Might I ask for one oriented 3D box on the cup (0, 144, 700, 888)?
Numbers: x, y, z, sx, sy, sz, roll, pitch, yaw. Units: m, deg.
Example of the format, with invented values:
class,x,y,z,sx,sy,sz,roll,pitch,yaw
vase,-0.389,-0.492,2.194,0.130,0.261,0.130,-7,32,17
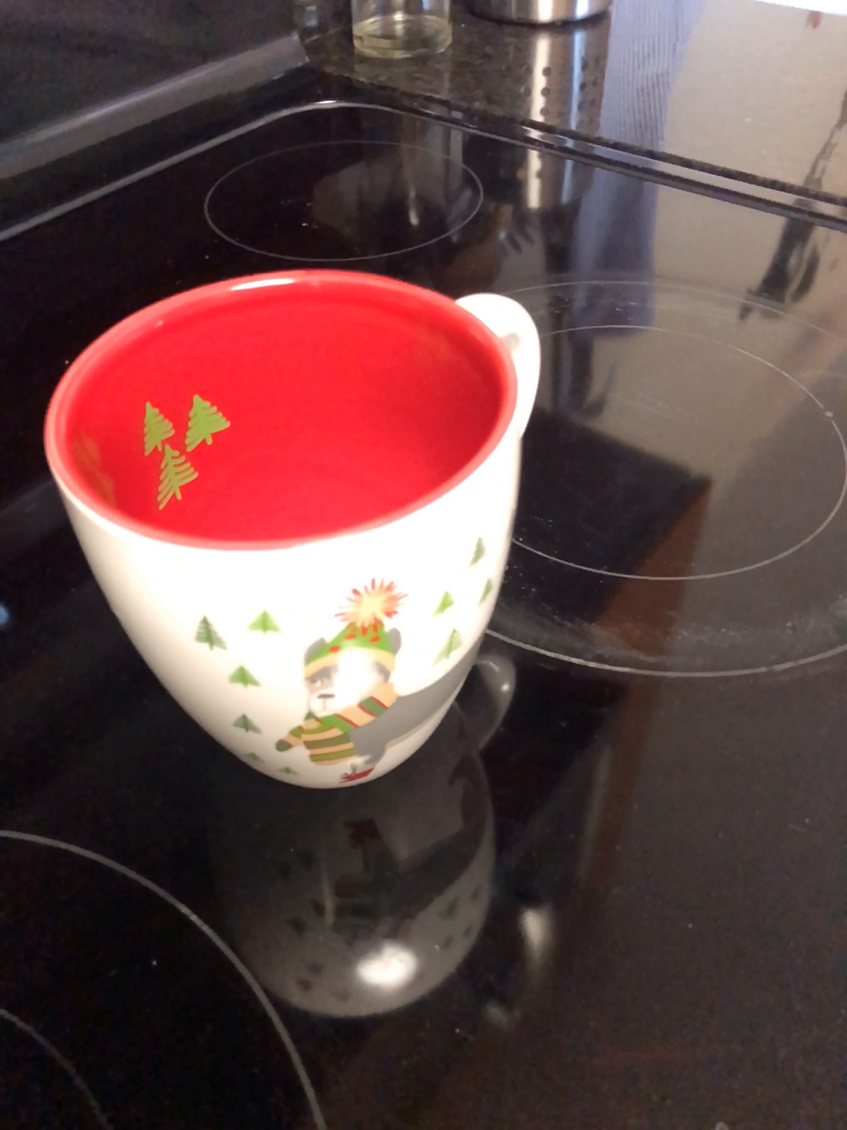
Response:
class,x,y,z,sx,sy,sz,roll,pitch,yaw
cup,-0.014,-0.023,0.239,0.100,0.100,0.140,26,51,25
